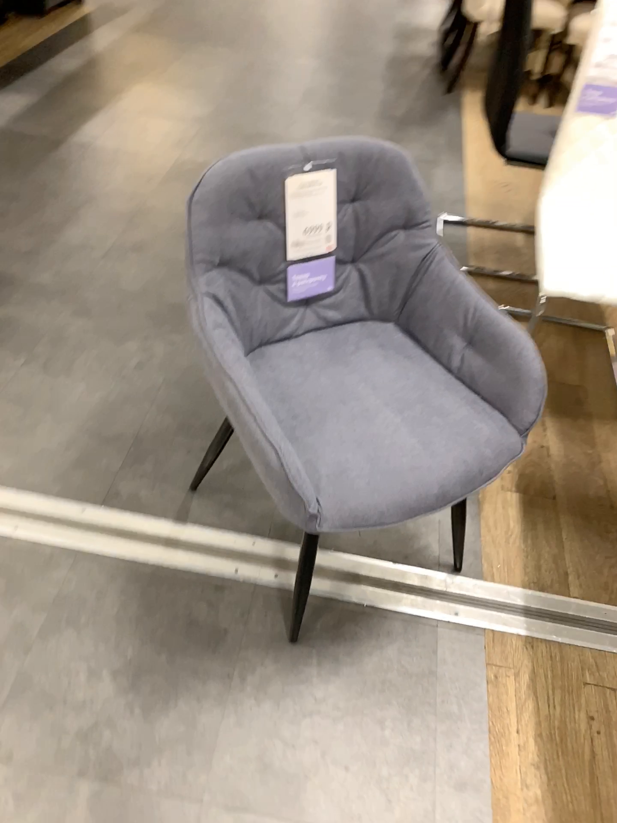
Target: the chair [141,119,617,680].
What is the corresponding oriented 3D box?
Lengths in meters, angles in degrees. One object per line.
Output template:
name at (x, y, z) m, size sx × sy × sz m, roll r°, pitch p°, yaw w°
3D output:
chair at (0.074, -0.027, 1.216) m, size 0.561 × 0.776 × 0.592 m, roll -16°, pitch 49°, yaw -22°
